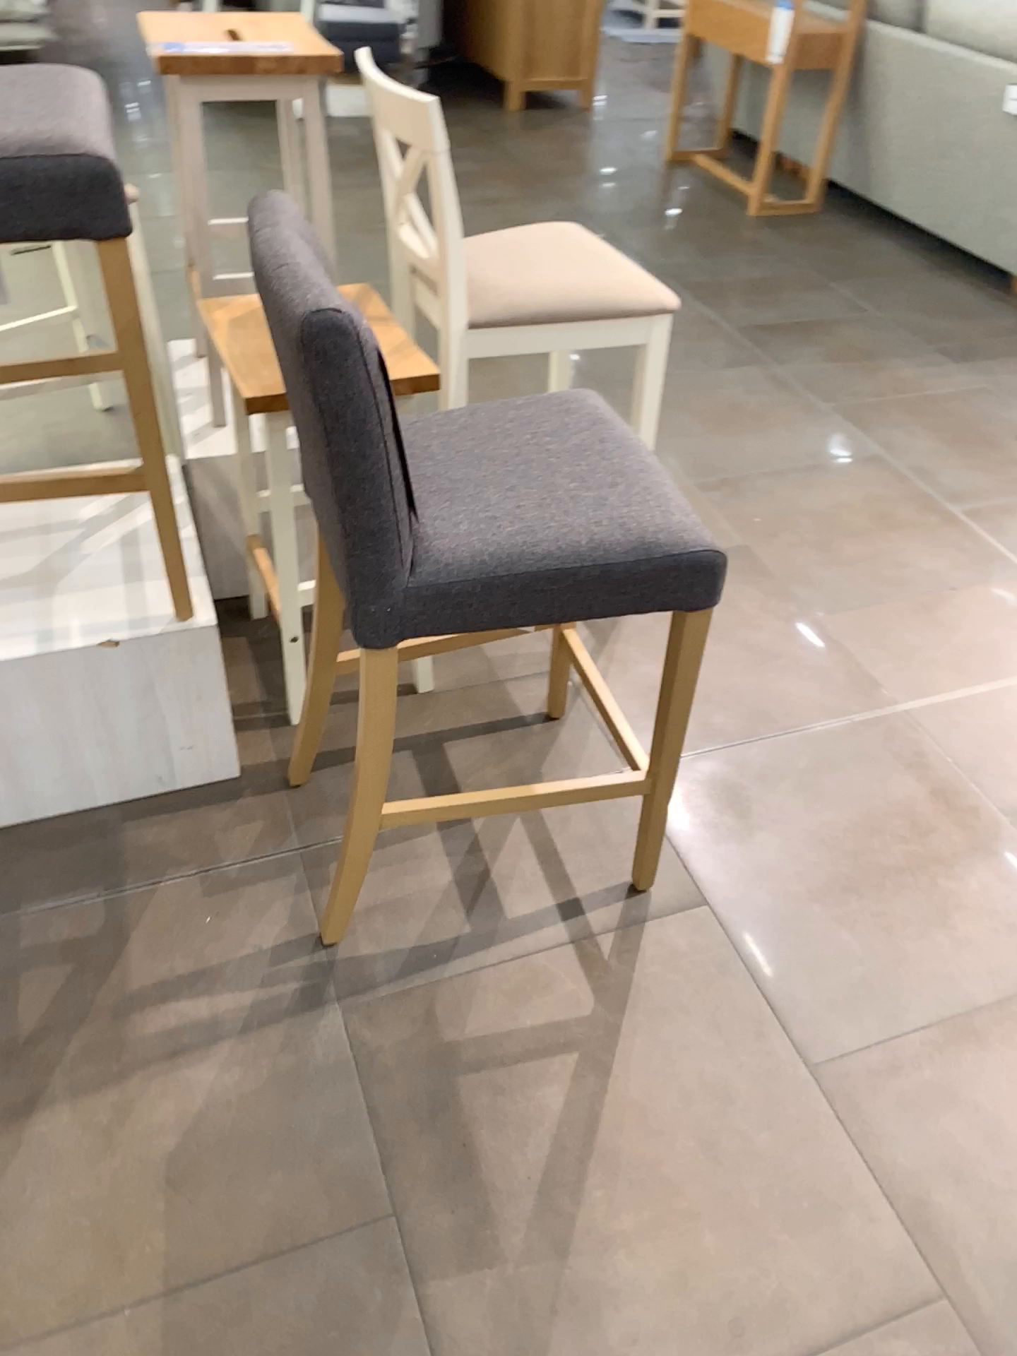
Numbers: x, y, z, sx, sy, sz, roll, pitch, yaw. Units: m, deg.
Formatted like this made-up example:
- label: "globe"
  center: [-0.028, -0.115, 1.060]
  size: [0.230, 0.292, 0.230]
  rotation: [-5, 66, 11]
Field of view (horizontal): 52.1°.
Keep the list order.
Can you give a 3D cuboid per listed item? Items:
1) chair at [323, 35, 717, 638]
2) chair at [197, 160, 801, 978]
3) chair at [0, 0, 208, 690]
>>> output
- label: "chair"
  center: [-0.022, -0.645, 2.003]
  size: [0.499, 0.938, 0.510]
  rotation: [-12, 42, -17]
- label: "chair"
  center: [-0.059, -0.131, 1.405]
  size: [0.519, 0.908, 0.490]
  rotation: [-11, 42, -16]
- label: "chair"
  center: [-0.766, -0.559, 1.337]
  size: [0.539, 0.918, 0.551]
  rotation: [-12, 42, -17]
